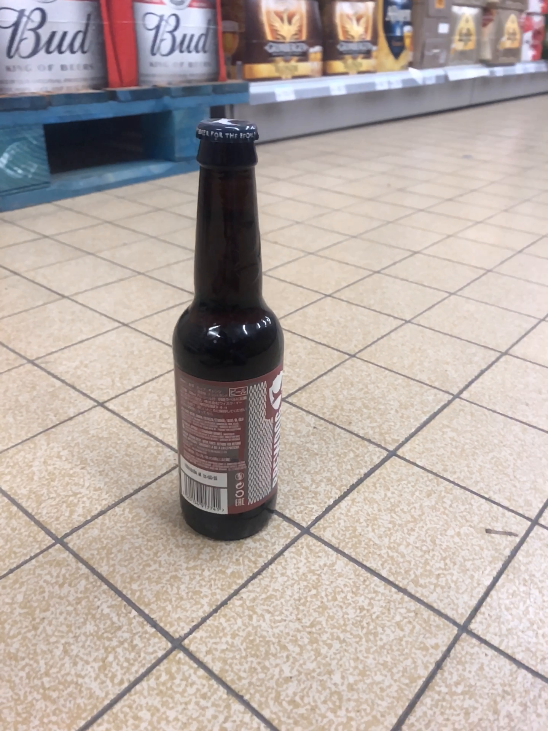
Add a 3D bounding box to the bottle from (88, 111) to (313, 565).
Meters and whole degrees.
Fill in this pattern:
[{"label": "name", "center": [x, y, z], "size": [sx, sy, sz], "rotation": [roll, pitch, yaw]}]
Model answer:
[{"label": "bottle", "center": [-0.030, -0.010, 0.305], "size": [0.070, 0.209, 0.070], "rotation": [1, 28, -1]}]
